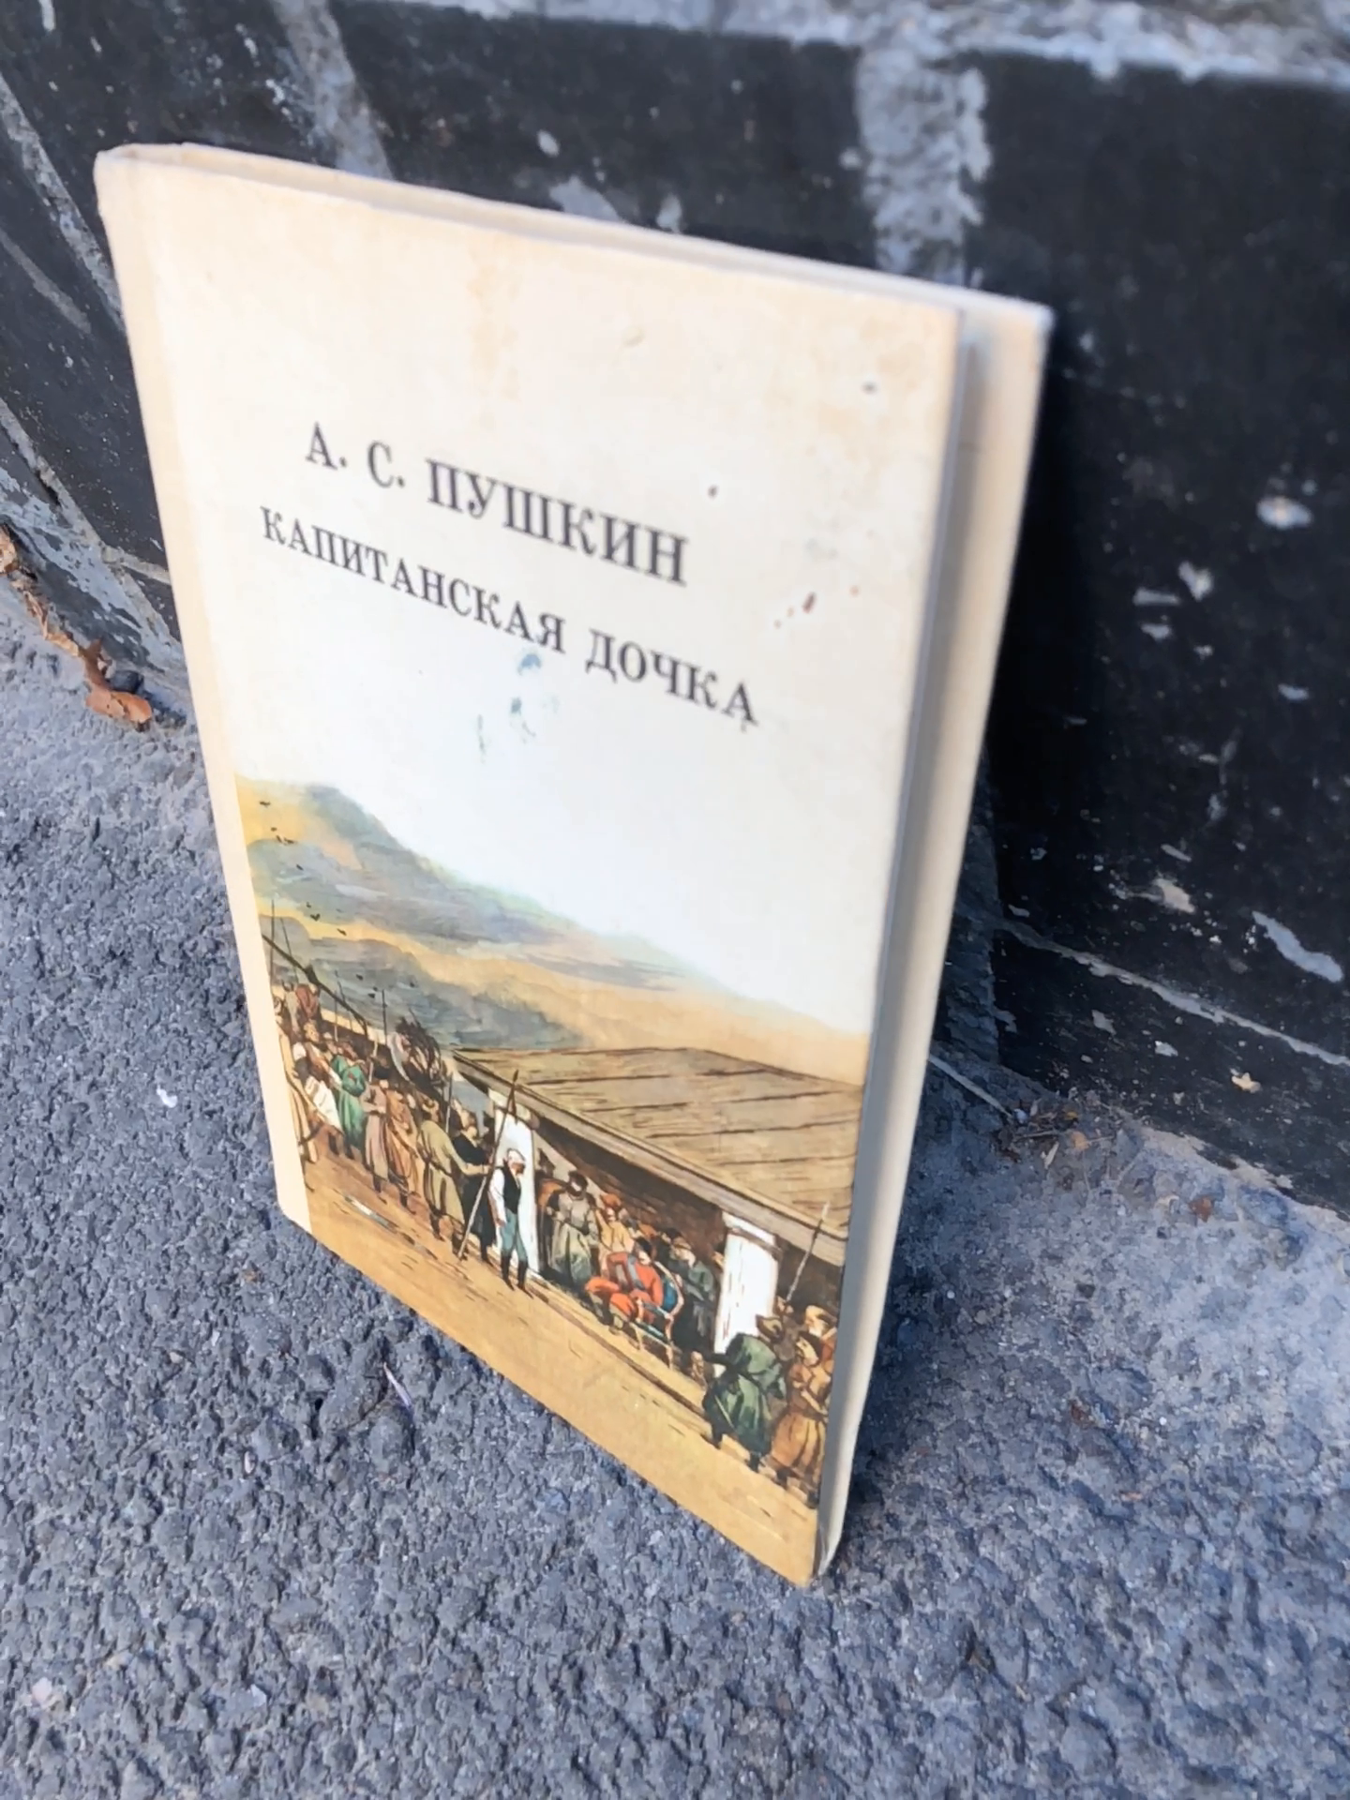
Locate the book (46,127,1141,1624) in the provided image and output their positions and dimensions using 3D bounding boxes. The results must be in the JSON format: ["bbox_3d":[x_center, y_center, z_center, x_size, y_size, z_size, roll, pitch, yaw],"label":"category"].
[{"bbox_3d":[-0.023,0.006,0.238,0.150,0.214,0.020,25,42,29],"label":"book"}]
